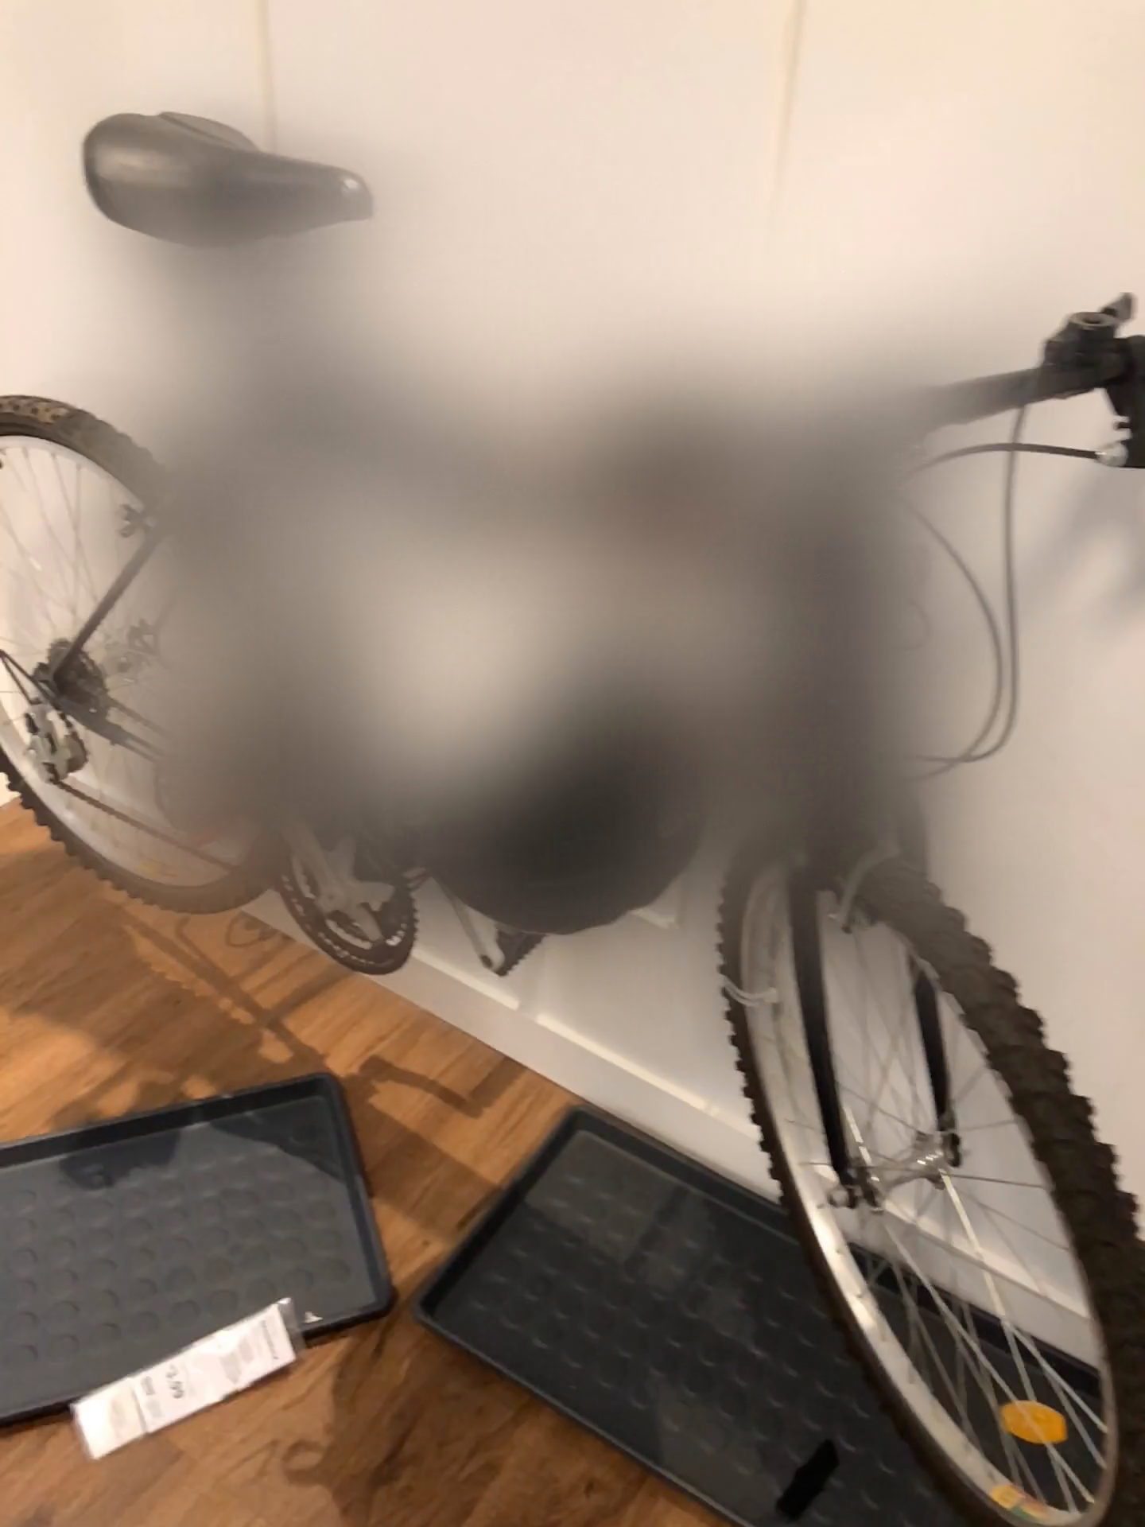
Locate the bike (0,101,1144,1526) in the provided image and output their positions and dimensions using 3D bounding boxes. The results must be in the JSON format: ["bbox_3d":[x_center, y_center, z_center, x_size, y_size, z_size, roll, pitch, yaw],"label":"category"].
[{"bbox_3d":[-0.178,0.044,1.197,1.571,0.845,0.559,32,41,28],"label":"bike"}]
